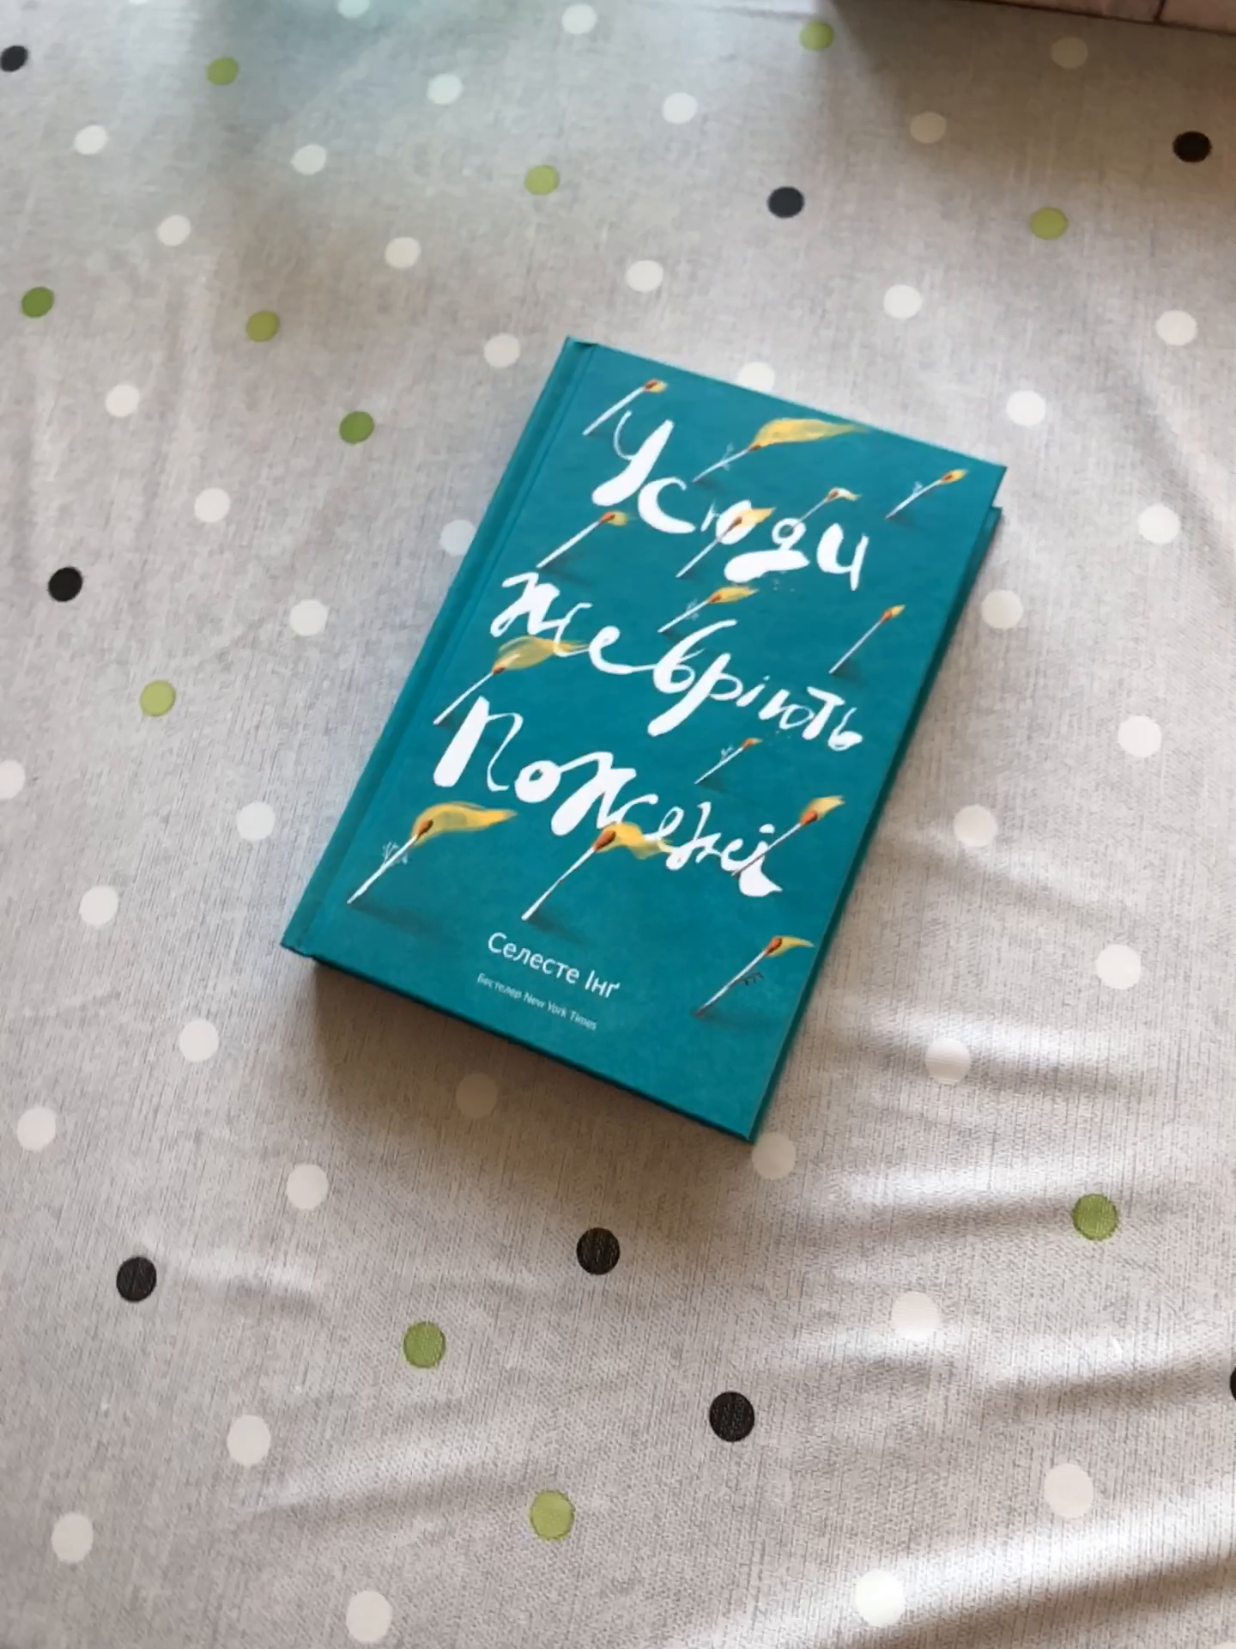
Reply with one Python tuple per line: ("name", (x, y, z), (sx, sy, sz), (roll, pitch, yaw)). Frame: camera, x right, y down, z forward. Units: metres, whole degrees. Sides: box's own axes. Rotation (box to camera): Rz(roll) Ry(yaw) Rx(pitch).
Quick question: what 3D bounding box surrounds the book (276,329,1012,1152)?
("book", (0.012, -0.031, 0.415), (0.143, 0.040, 0.214), (21, 77, 12))
